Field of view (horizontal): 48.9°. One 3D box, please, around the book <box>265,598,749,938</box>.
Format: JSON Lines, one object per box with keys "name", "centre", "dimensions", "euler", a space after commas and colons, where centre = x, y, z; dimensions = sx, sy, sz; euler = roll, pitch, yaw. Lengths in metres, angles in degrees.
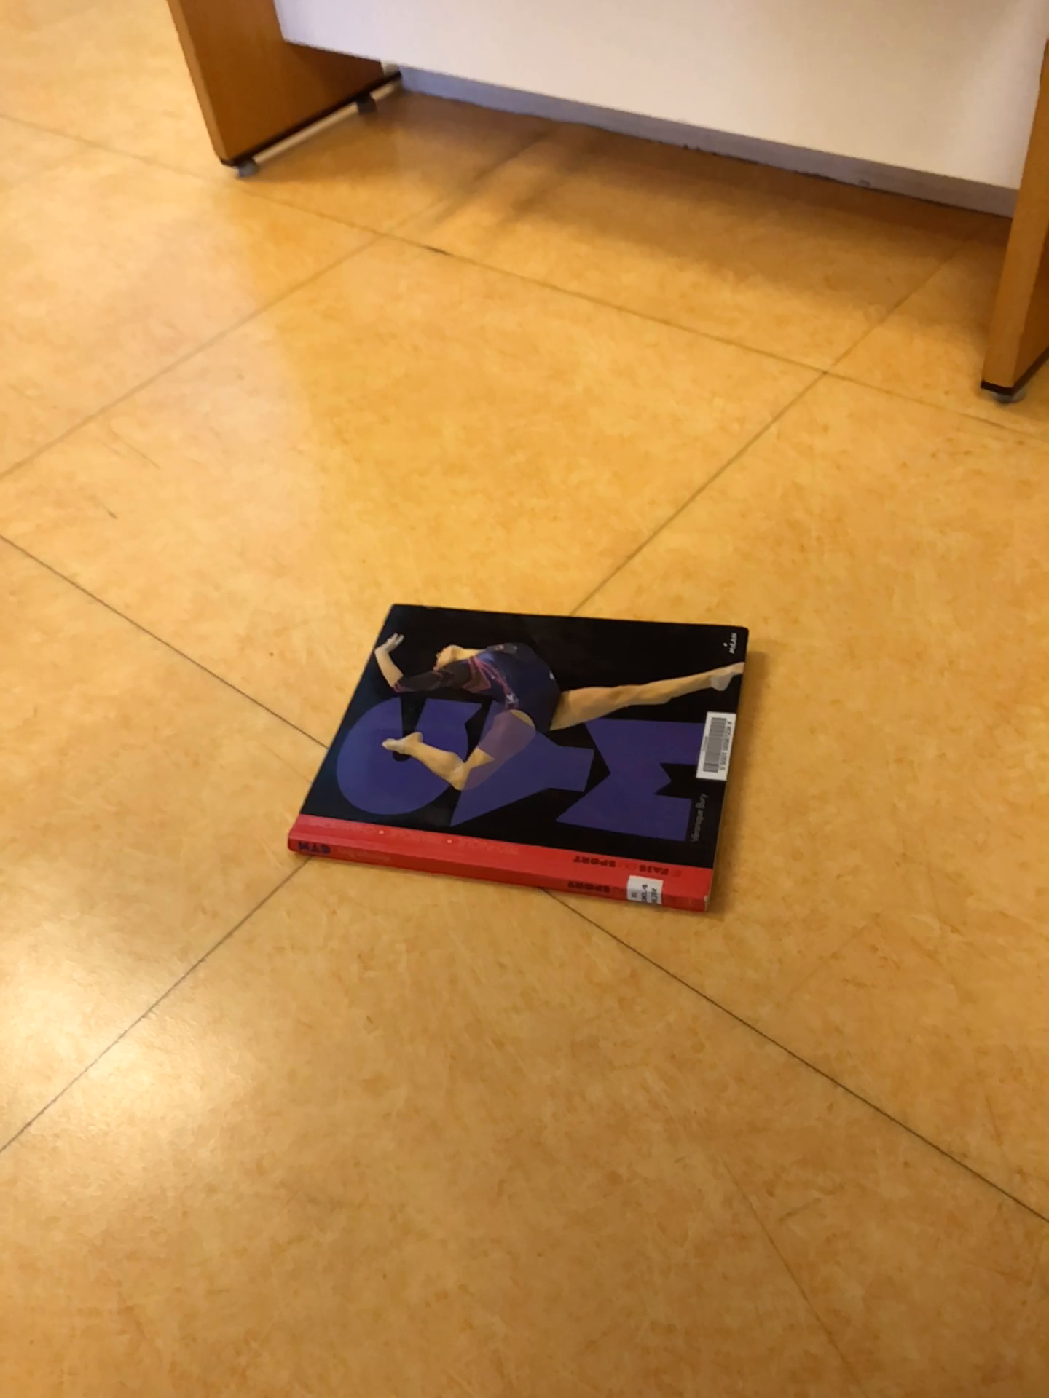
{"name": "book", "centre": [-0.001, 0.028, 0.657], "dimensions": [0.233, 0.030, 0.194], "euler": [5, 49, 14]}
